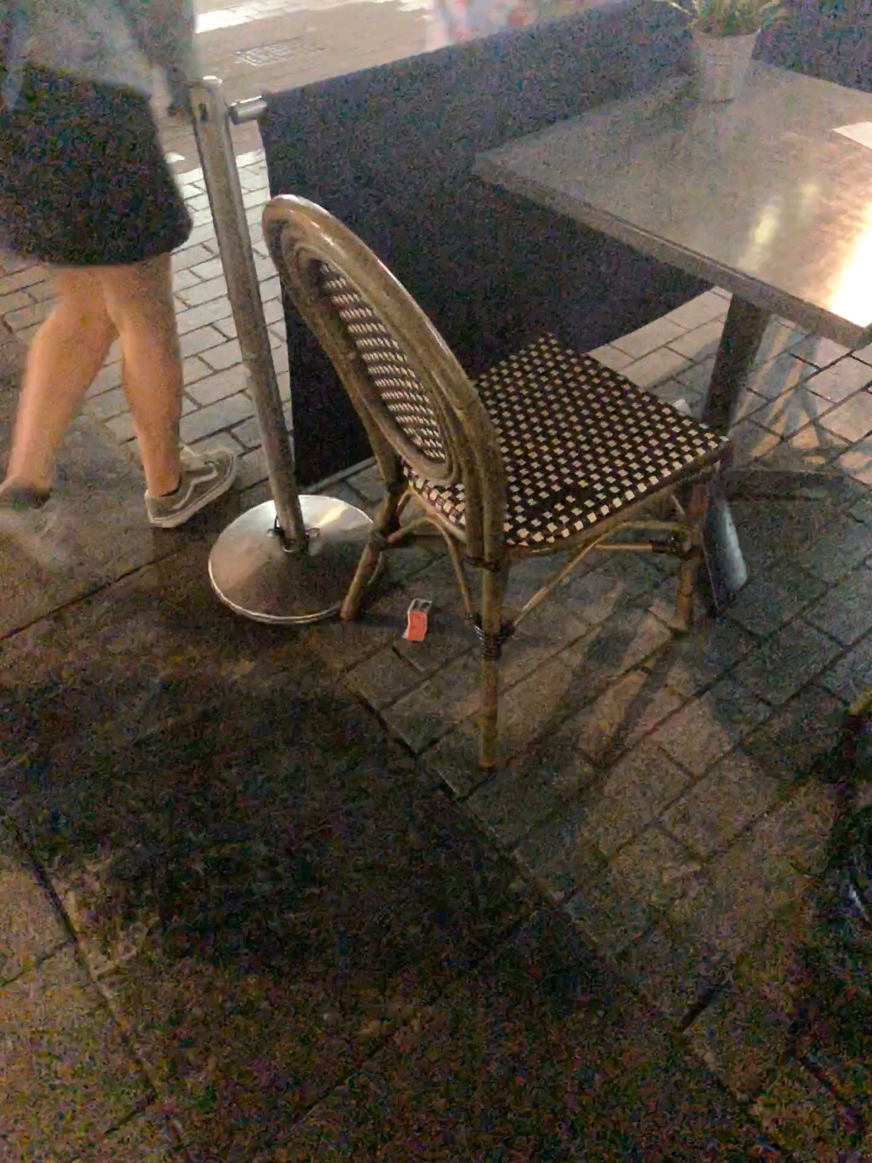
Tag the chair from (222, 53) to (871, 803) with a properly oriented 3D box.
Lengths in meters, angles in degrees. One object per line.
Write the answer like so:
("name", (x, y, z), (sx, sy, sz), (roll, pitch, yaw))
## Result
("chair", (0.143, -0.221, 1.318), (0.602, 0.792, 0.513), (-31, 53, -26))
